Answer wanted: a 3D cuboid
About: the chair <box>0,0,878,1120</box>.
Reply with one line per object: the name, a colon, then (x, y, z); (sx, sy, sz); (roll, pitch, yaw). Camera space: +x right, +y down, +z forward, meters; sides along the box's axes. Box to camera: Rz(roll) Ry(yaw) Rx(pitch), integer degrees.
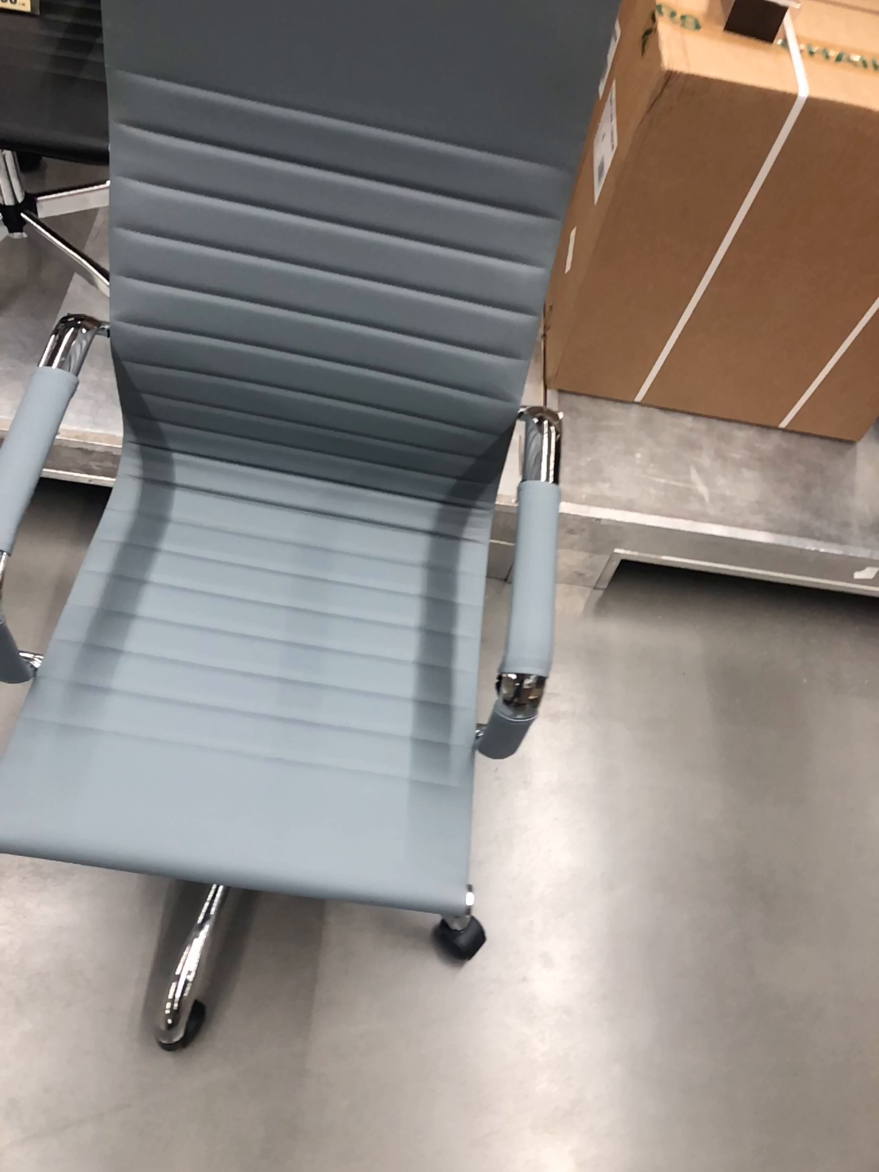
chair: (-0.185, 0.036, 1.028); (0.710, 1.213, 0.754); (11, 55, -4)
